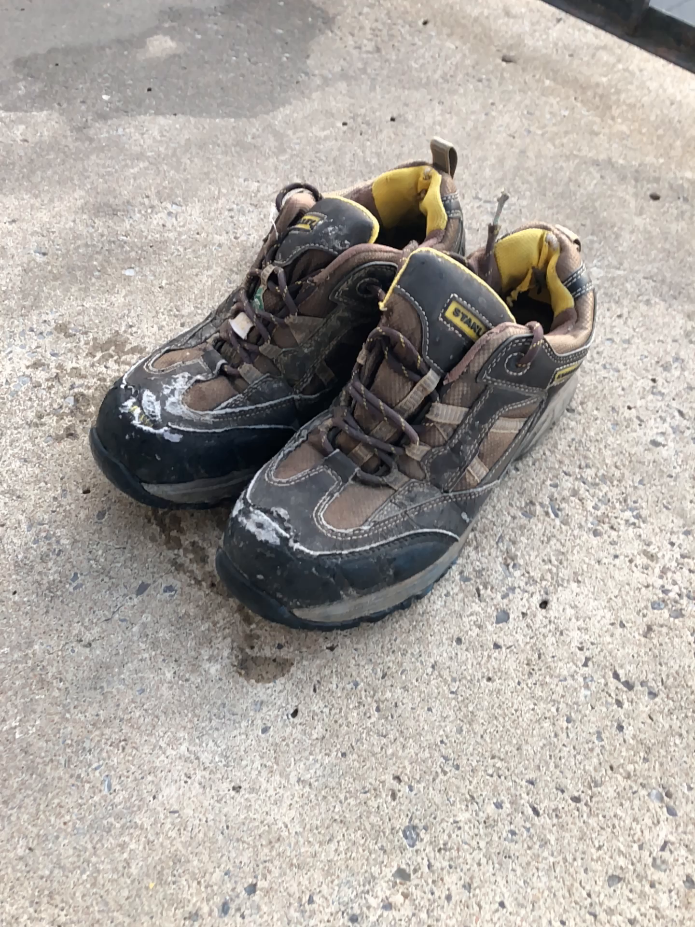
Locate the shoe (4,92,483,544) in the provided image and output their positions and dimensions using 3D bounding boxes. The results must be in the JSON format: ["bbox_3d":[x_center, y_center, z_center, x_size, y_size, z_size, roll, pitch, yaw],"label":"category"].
[{"bbox_3d":[-0.048,-0.093,0.477,0.251,0.149,0.100,-36,63,-22],"label":"shoe"}]

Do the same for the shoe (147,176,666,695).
[{"bbox_3d":[0.035,-0.015,0.436,0.231,0.169,0.120,-36,63,-22],"label":"shoe"}]
